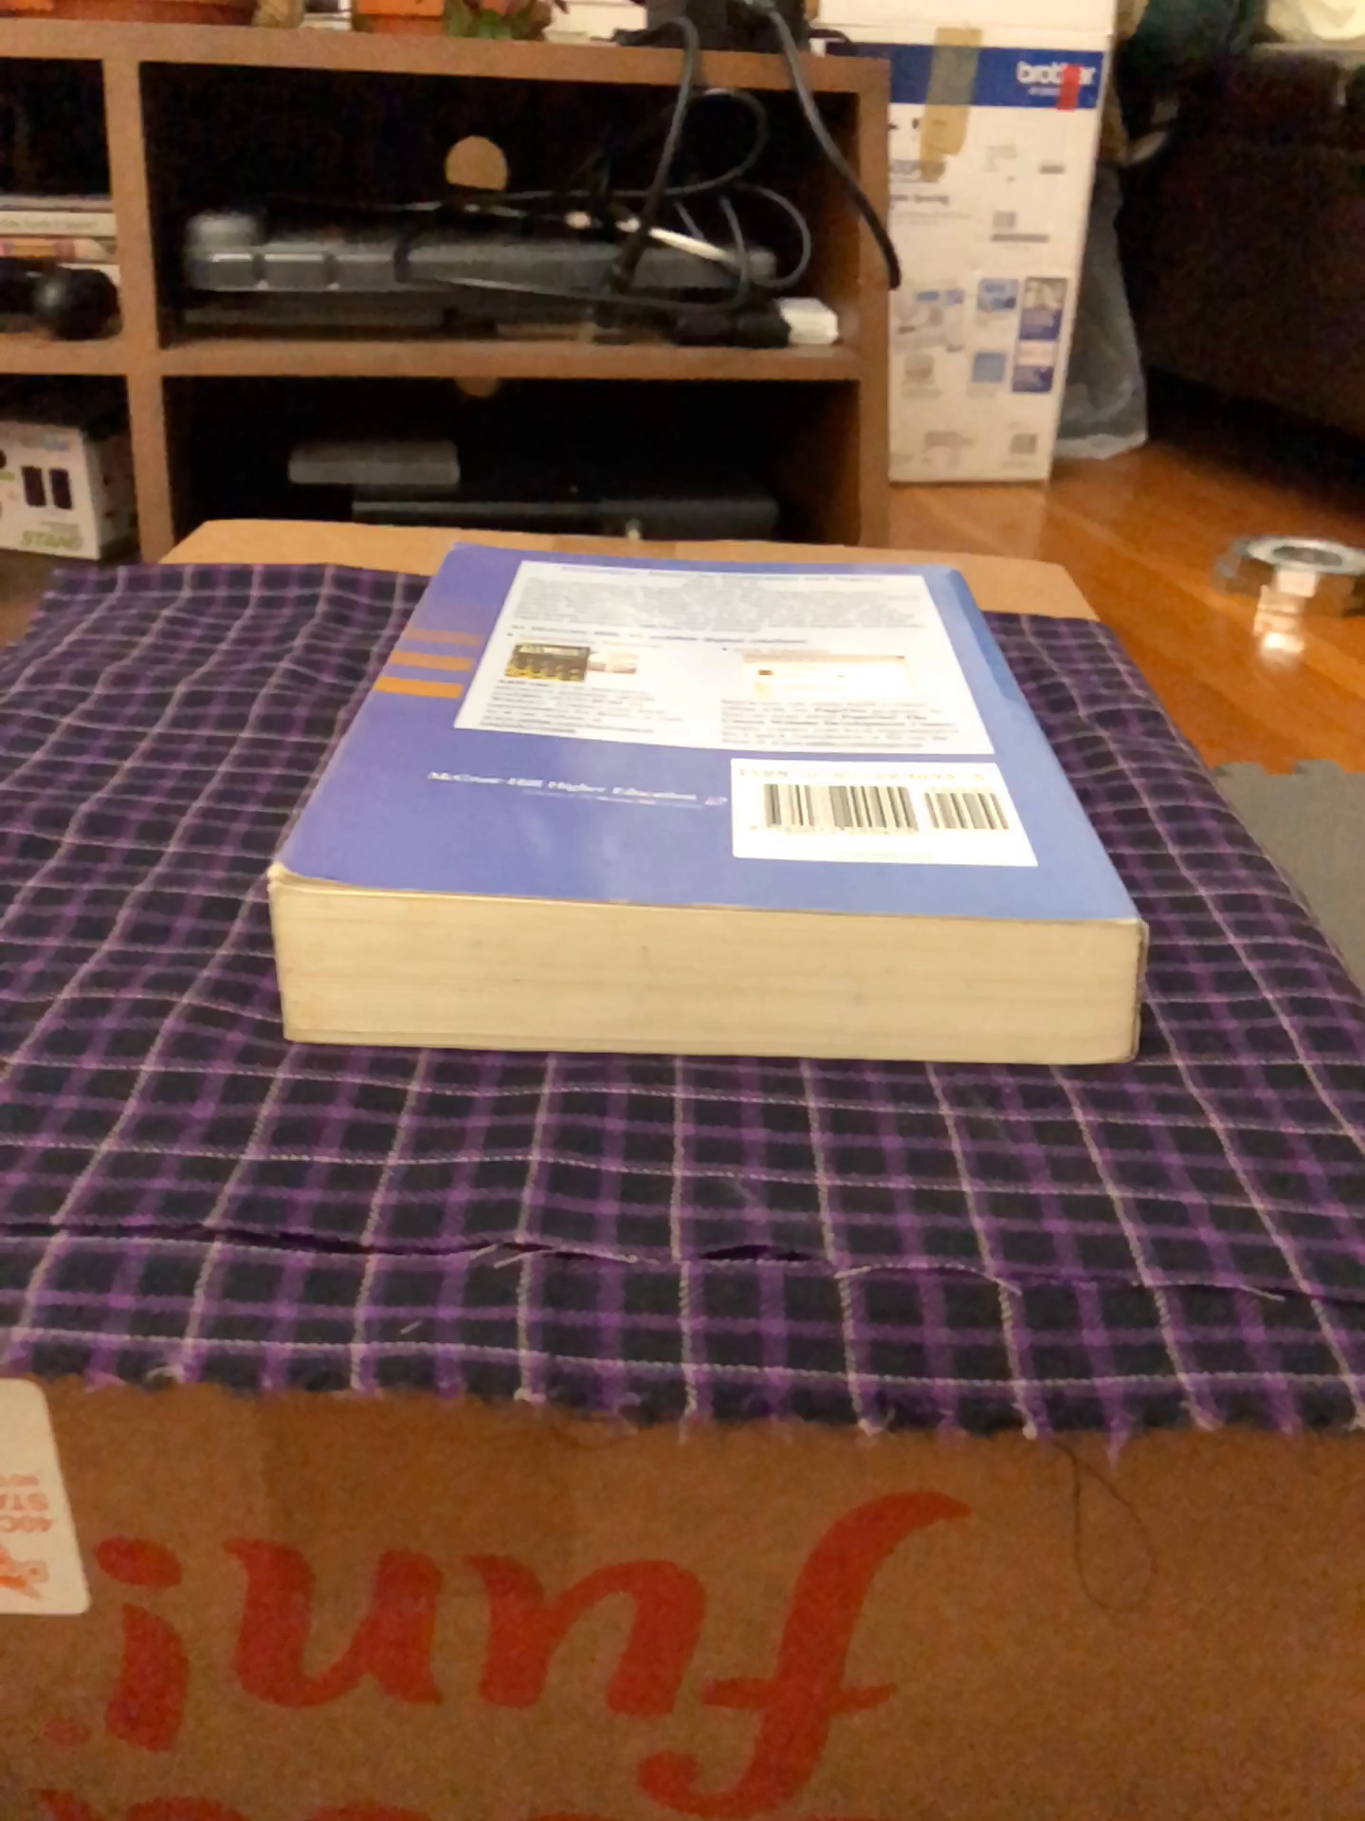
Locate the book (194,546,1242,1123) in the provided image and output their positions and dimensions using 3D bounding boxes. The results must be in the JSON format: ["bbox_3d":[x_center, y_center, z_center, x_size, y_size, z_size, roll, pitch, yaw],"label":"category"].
[{"bbox_3d":[0.005,-0.037,0.375,0.180,0.040,0.241,1,28,-1],"label":"book"}]
